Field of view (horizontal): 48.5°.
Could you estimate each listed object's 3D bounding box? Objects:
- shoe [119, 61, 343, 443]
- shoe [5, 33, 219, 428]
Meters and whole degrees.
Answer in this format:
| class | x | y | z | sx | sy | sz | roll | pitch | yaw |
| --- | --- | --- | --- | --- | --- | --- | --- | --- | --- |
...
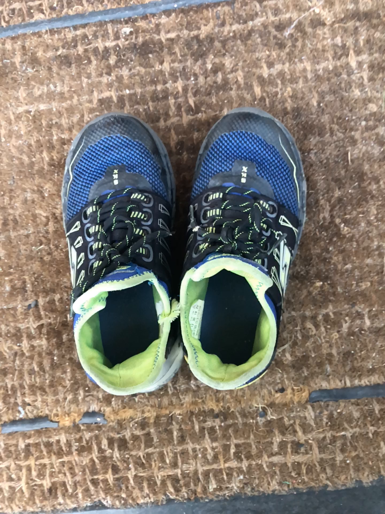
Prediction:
| class | x | y | z | sx | sy | sz | roll | pitch | yaw |
| --- | --- | --- | --- | --- | --- | --- | --- | --- | --- |
| shoe | 0.026 | -0.004 | 0.288 | 0.090 | 0.100 | 0.200 | 10 | 88 | 6 |
| shoe | -0.049 | -0.016 | 0.313 | 0.090 | 0.100 | 0.230 | -12 | 86 | 5 |
